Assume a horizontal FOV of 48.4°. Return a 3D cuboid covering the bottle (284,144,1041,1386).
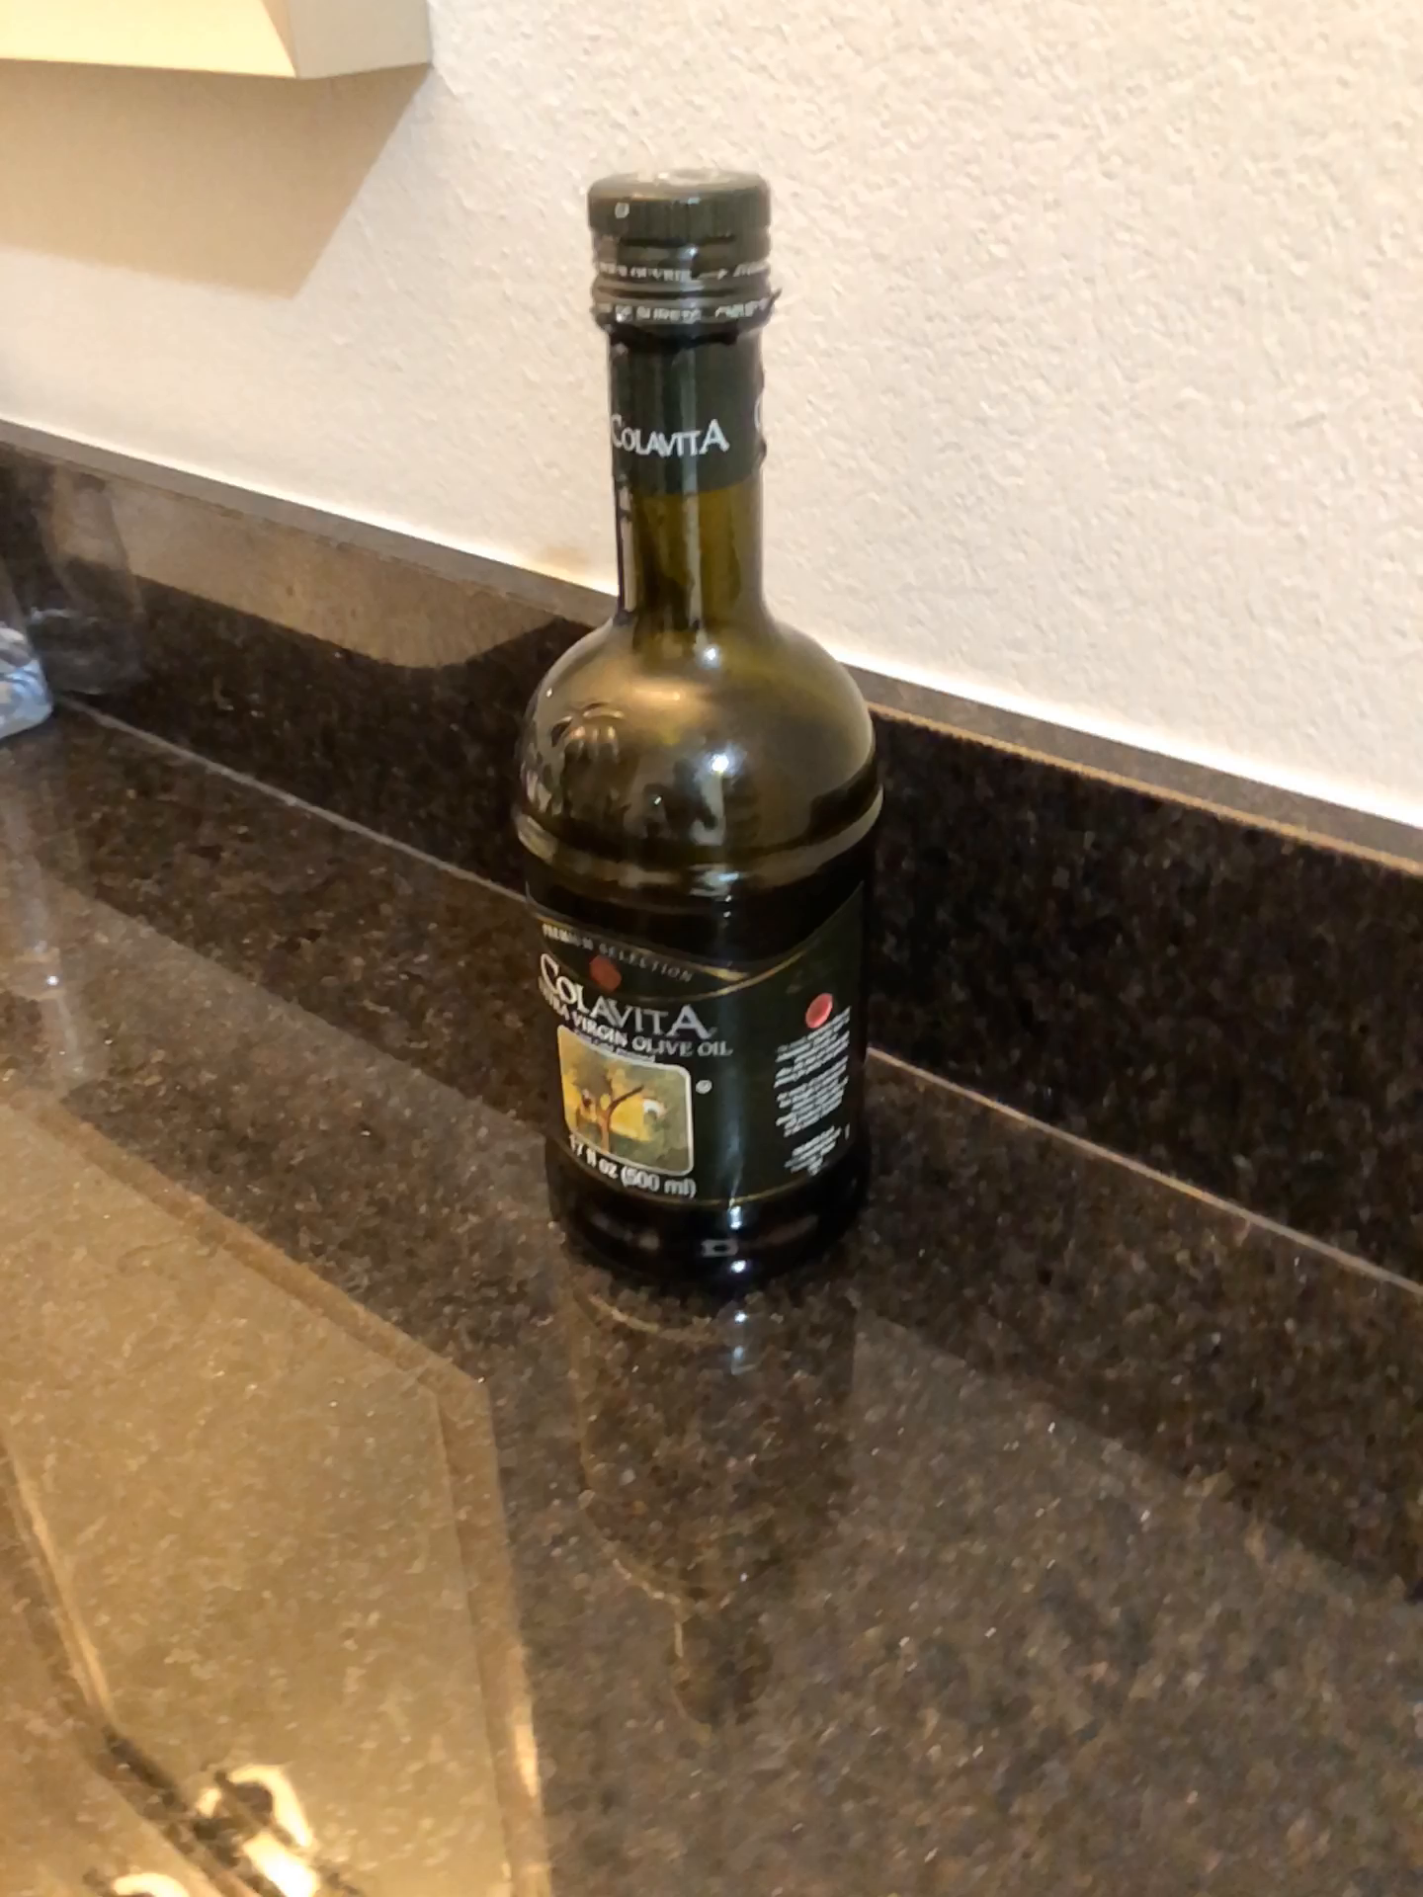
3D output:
[{"bbox_3d":[-0.004,-0.034,0.324,0.090,0.219,0.090,-1,34,1],"label":"bottle"}]
